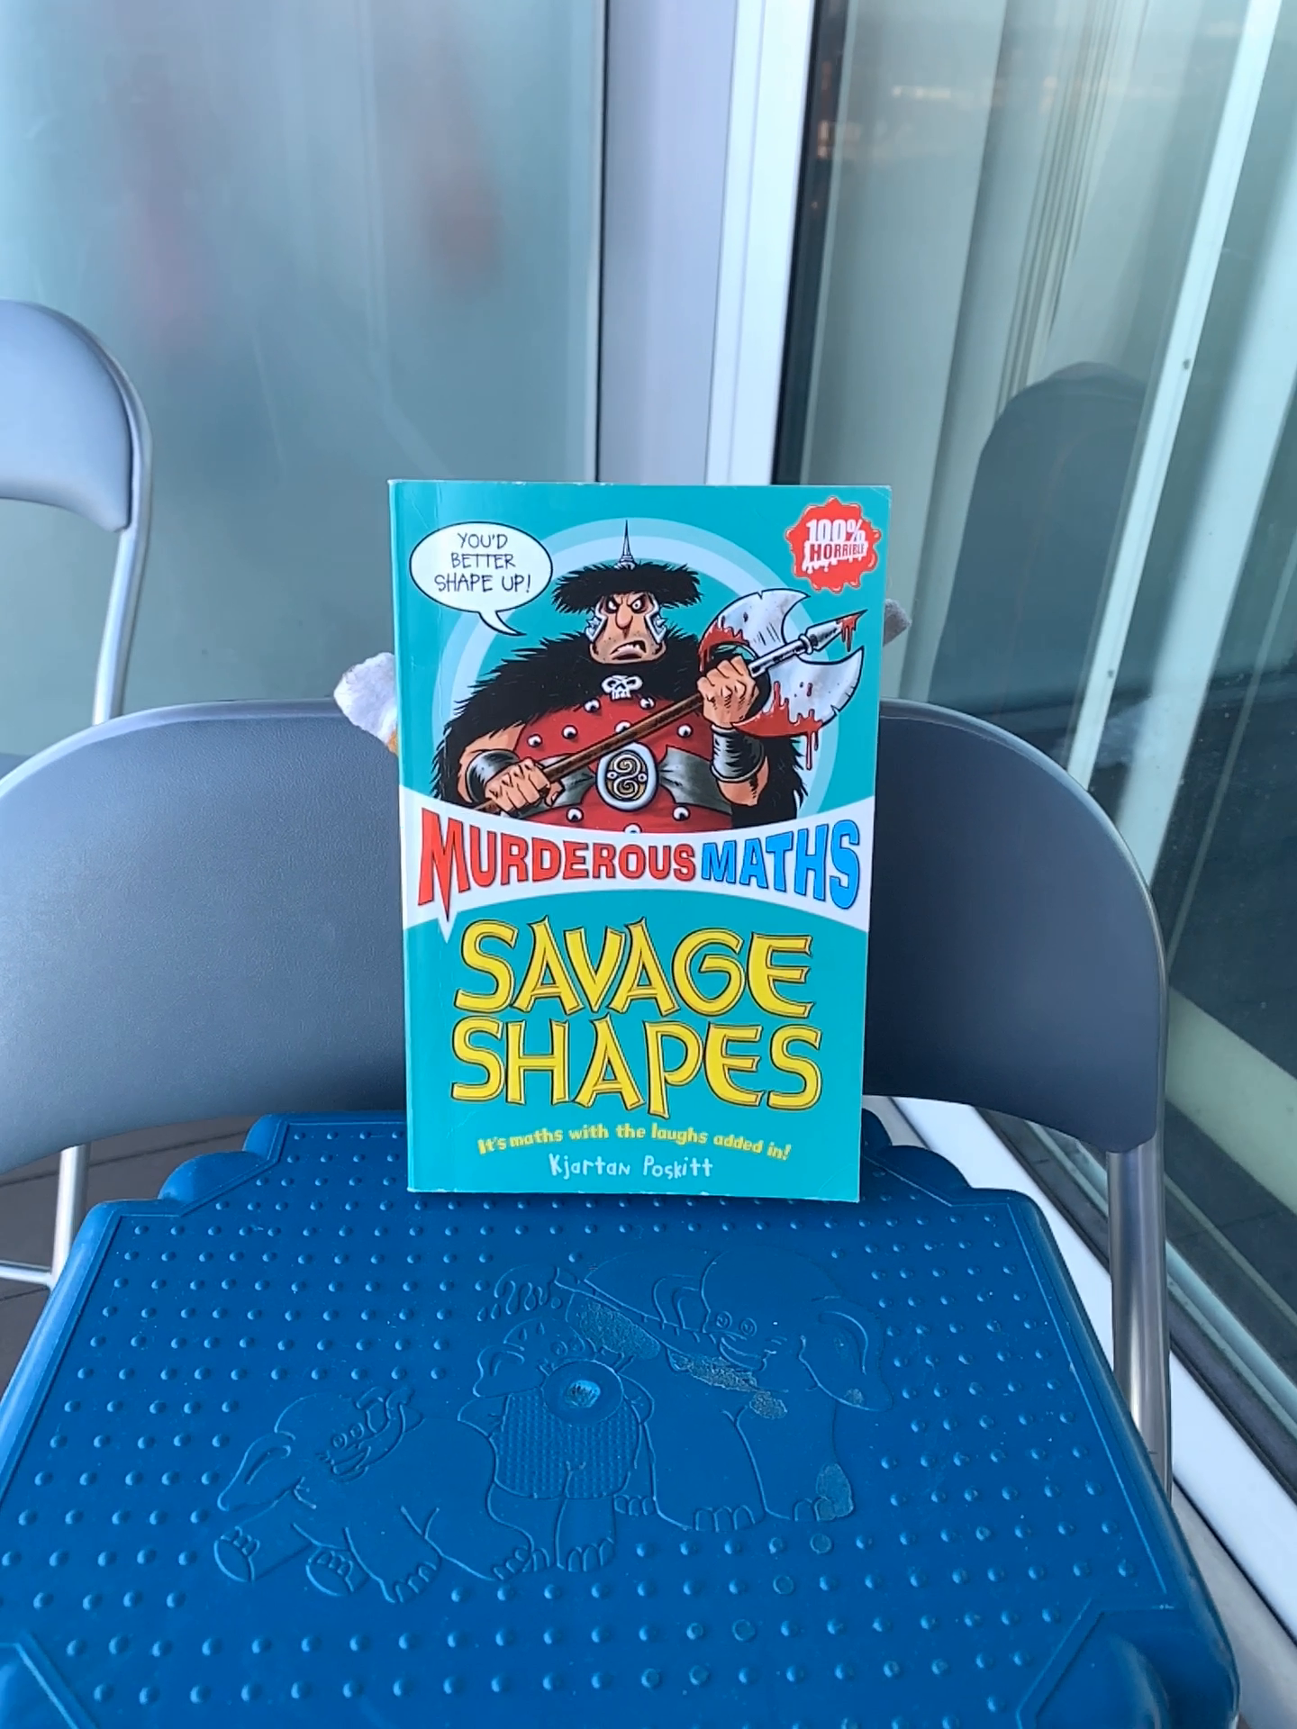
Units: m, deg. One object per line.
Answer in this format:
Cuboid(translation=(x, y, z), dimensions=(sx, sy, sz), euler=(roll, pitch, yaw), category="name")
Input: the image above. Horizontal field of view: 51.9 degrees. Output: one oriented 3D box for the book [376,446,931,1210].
Cuboid(translation=(-0.002, -0.006, 0.353), dimensions=(0.133, 0.193, 0.029), euler=(2, 12, -2), category="book")
